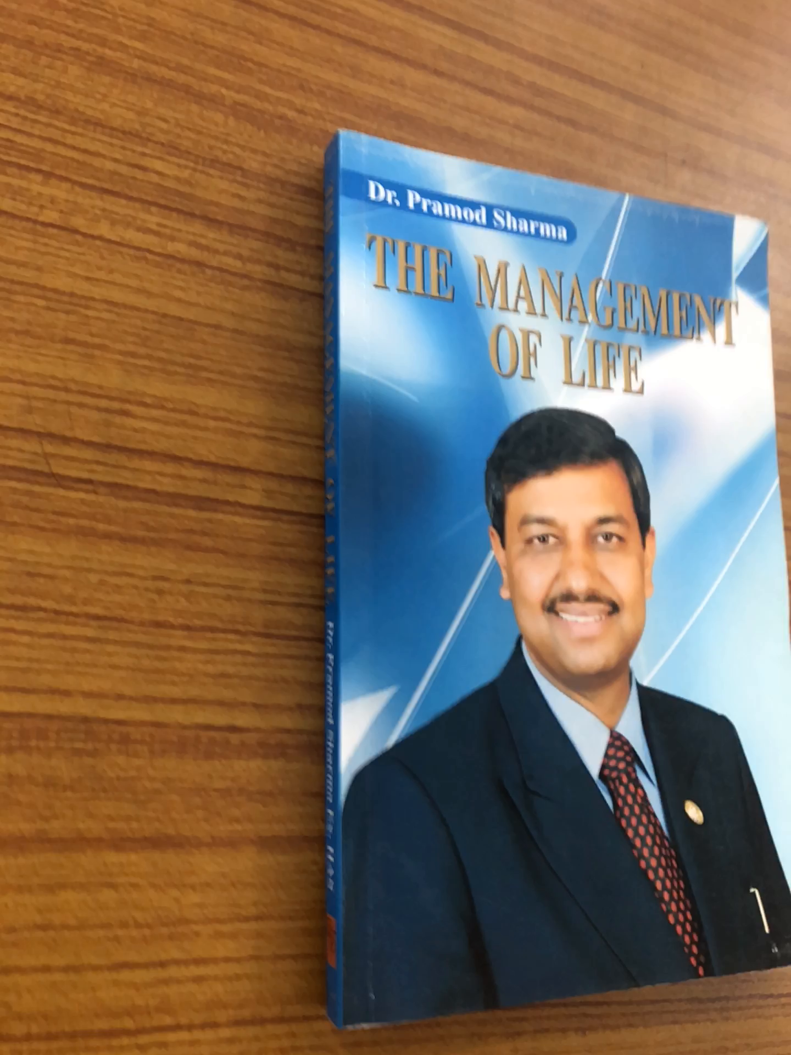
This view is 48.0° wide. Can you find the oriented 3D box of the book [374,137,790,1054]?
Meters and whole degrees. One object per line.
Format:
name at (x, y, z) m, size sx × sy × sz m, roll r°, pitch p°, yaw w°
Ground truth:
book at (0.069, 0.014, 0.231) m, size 0.150 × 0.020 × 0.210 m, roll 3°, pitch 78°, yaw -20°
